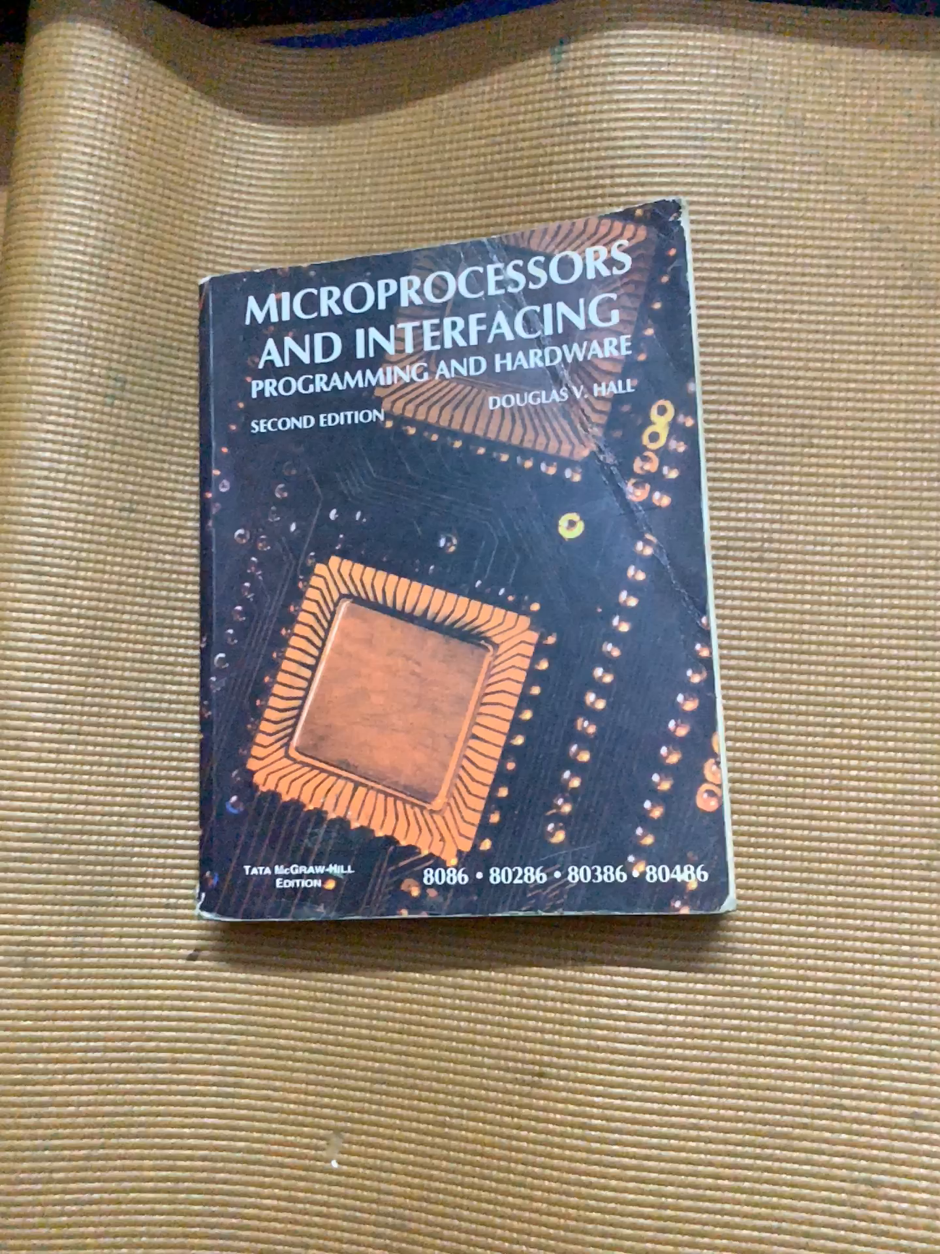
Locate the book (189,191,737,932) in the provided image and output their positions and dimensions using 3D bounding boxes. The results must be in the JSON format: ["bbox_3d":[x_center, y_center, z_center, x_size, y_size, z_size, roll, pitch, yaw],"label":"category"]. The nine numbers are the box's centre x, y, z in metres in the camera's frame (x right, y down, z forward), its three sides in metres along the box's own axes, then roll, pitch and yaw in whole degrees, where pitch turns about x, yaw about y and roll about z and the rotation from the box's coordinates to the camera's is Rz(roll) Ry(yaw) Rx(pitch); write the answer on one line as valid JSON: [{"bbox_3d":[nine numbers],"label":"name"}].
[{"bbox_3d":[-0.009,-0.027,0.494,0.259,0.060,0.339,-3,82,14],"label":"book"}]
